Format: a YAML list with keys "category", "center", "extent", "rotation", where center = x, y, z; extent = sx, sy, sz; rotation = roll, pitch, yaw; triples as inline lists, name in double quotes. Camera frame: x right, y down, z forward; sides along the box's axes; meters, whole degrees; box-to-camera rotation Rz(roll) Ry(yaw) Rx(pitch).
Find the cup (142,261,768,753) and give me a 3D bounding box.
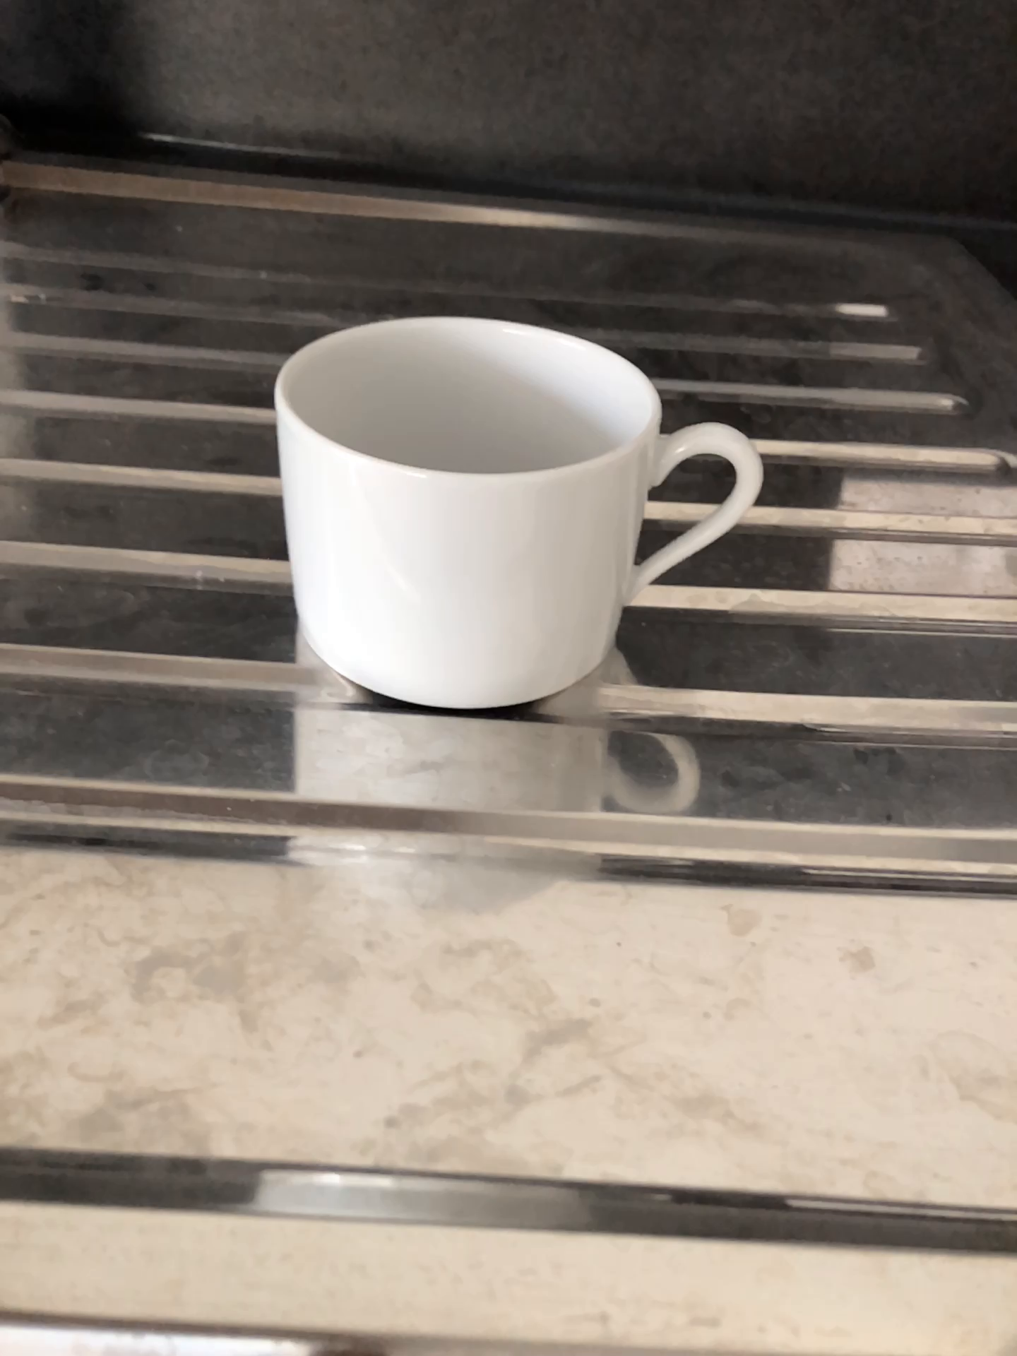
- category: "cup"
  center: [-0.007, -0.041, 0.245]
  extent: [0.110, 0.060, 0.081]
  rotation: [9, 37, 4]
